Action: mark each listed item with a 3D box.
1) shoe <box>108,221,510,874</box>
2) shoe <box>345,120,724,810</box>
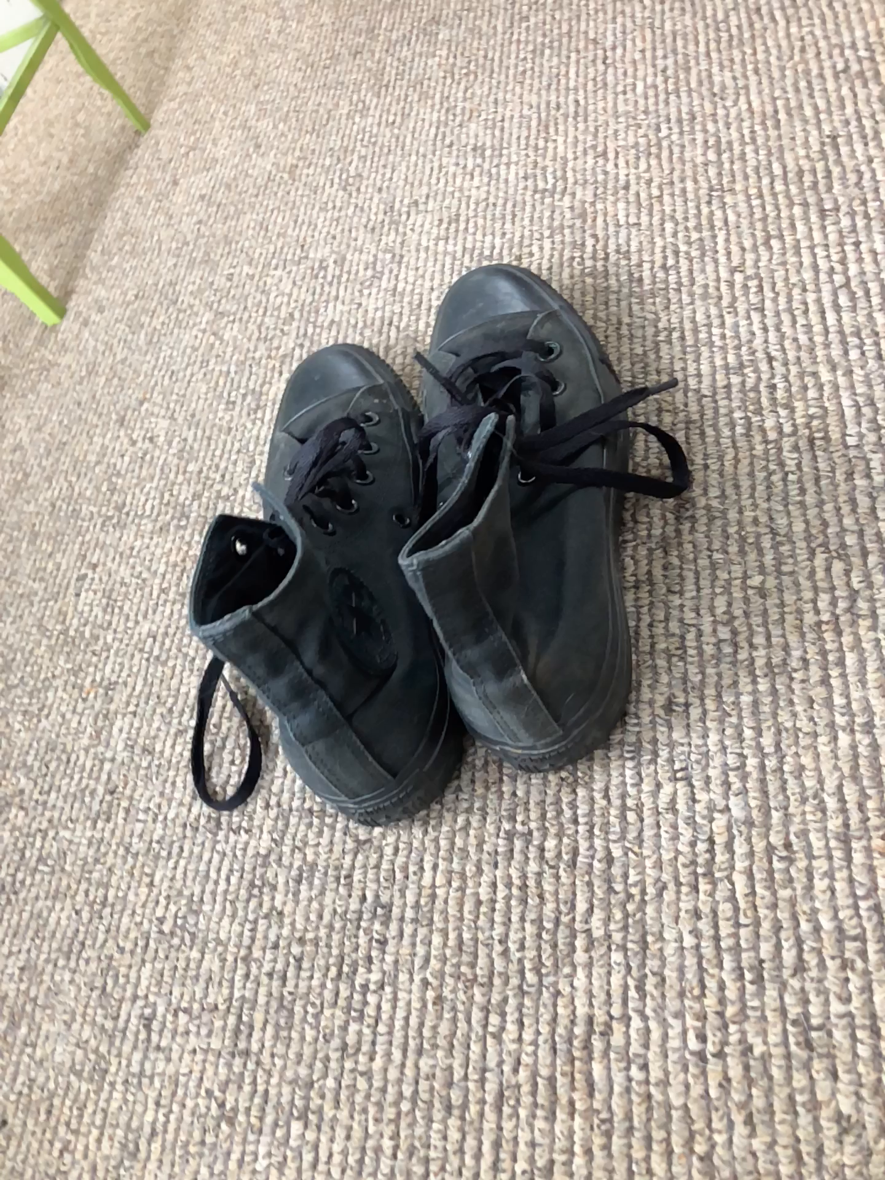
[{"bbox_3d":[-0.053,-0.022,0.419,0.088,0.126,0.237,-20,51,16],"label":"shoe"},{"bbox_3d":[0.030,-0.055,0.402,0.088,0.126,0.244,-18,52,18],"label":"shoe"}]
